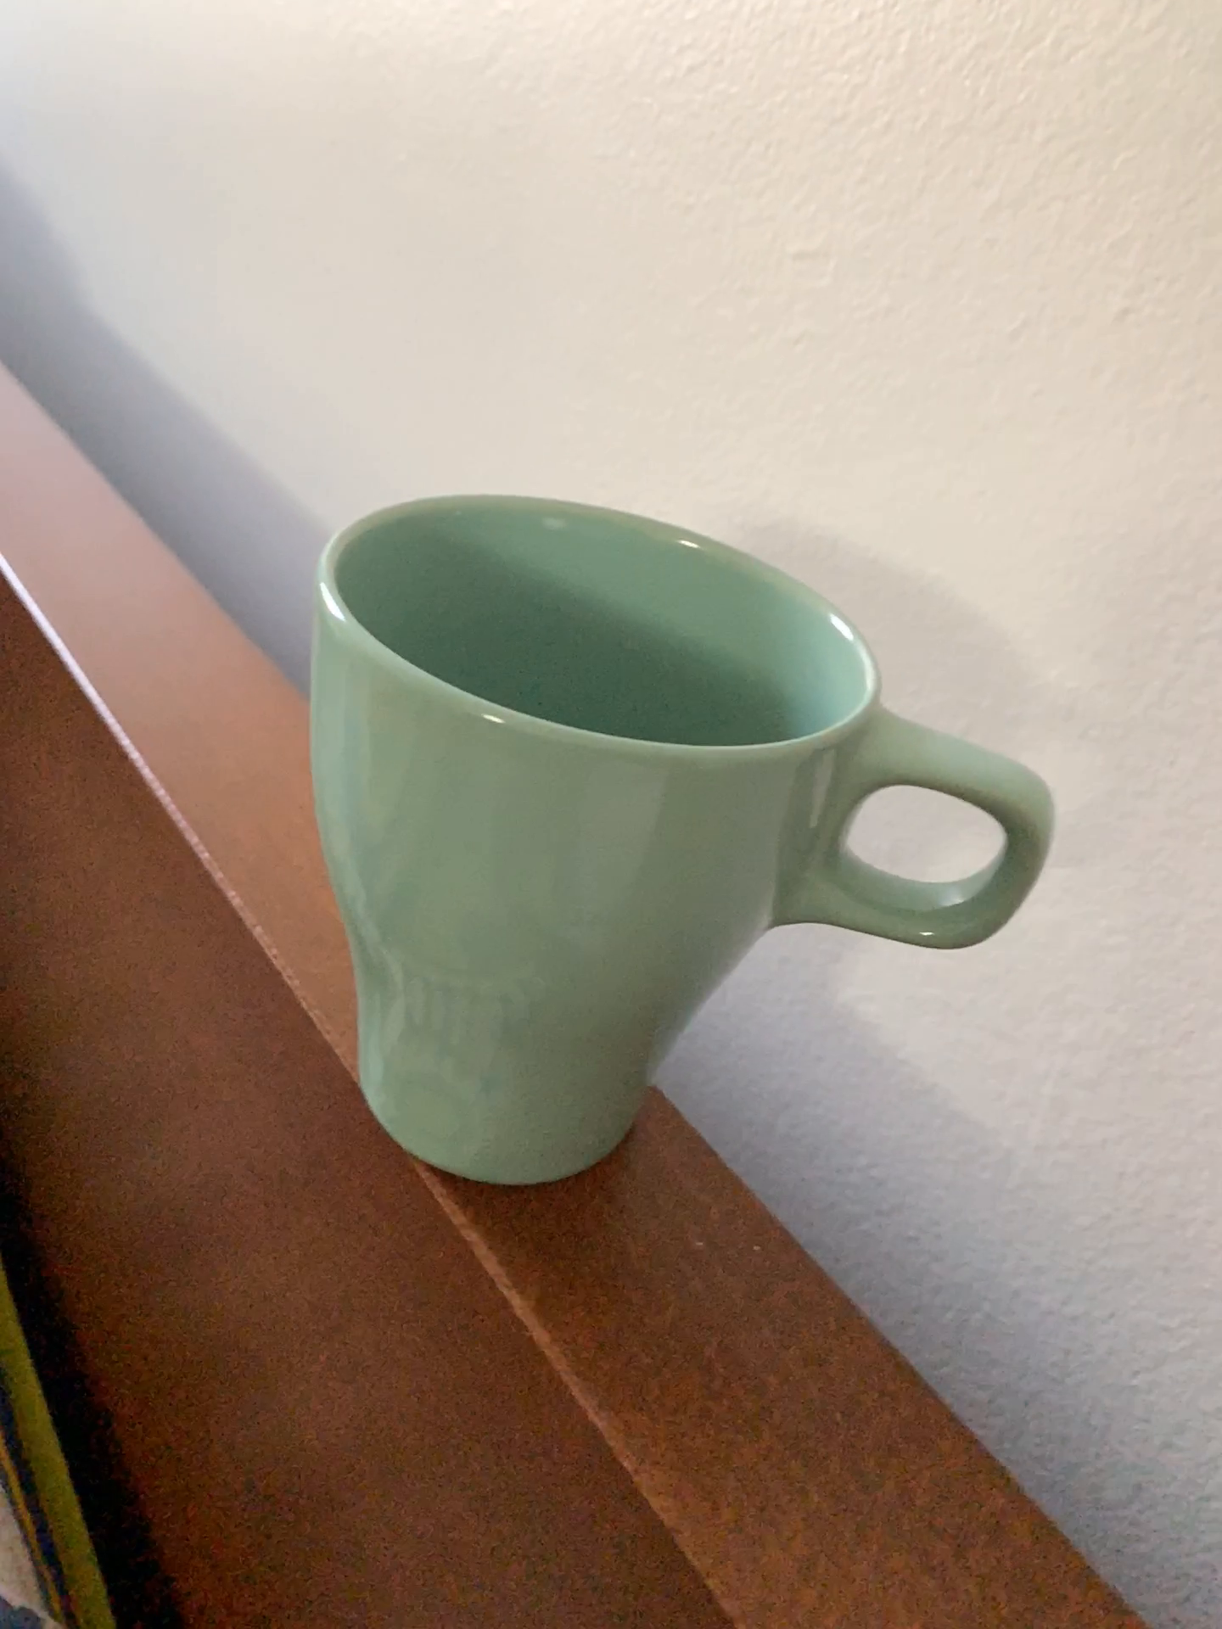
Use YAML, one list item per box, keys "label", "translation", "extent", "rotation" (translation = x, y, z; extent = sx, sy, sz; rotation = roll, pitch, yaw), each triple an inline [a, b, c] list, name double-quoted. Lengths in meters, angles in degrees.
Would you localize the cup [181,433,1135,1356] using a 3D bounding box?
- label: "cup"
  translation: [0.006, 0.008, 0.217]
  extent: [0.123, 0.091, 0.082]
  rotation: [19, 35, 6]
